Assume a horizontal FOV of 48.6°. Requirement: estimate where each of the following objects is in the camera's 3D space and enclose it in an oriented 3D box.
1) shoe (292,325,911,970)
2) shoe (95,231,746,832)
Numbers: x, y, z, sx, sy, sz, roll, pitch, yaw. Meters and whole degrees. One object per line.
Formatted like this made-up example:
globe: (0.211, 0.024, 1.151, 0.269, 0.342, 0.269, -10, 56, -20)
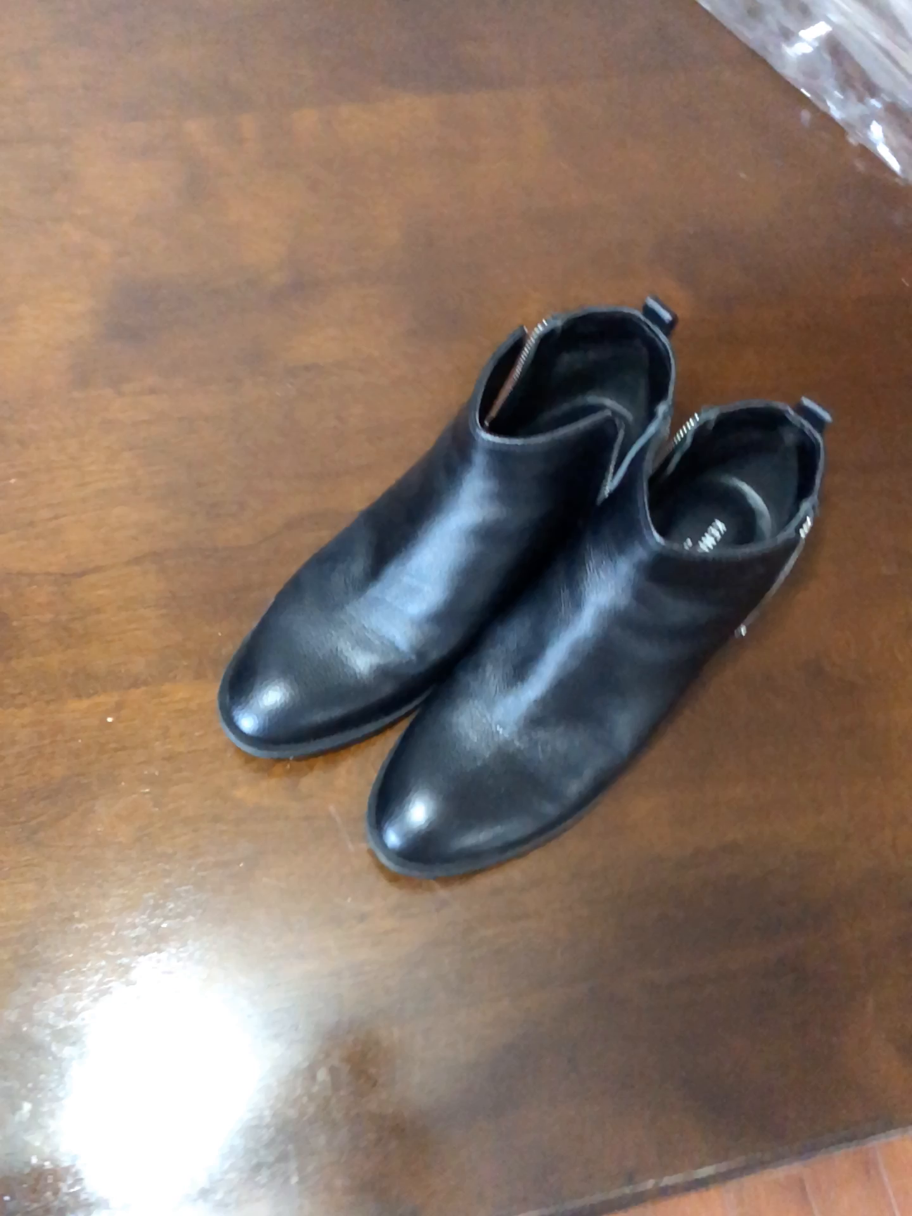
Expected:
shoe: (0.066, 0.019, 0.440, 0.260, 0.130, 0.100, -42, 76, -19)
shoe: (-0.010, -0.033, 0.465, 0.260, 0.130, 0.100, -39, 75, -18)
